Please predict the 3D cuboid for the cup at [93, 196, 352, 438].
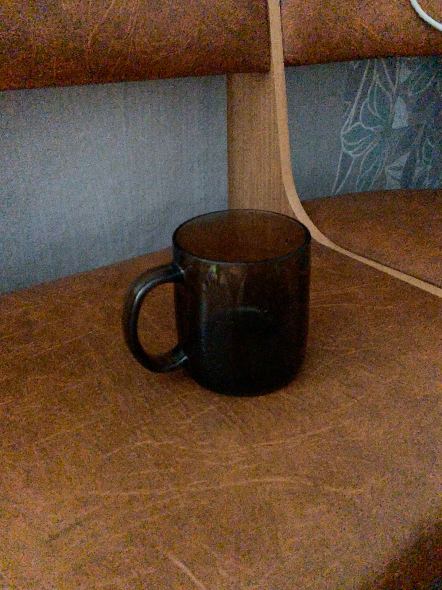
[{"bbox_3d":[0.000,0.004,0.272,0.120,0.089,0.081,-15,31,-23],"label":"cup"}]
